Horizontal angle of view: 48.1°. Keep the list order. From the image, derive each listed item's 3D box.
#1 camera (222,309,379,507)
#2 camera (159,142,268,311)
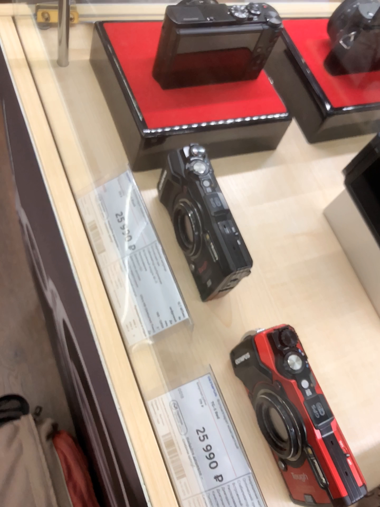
[{"bbox_3d":[0.065,0.104,0.281,0.030,0.060,0.117,-13,68,-22],"label":"camera"},{"bbox_3d":[0.014,-0.021,0.339,0.030,0.060,0.117,-13,68,-22],"label":"camera"}]
